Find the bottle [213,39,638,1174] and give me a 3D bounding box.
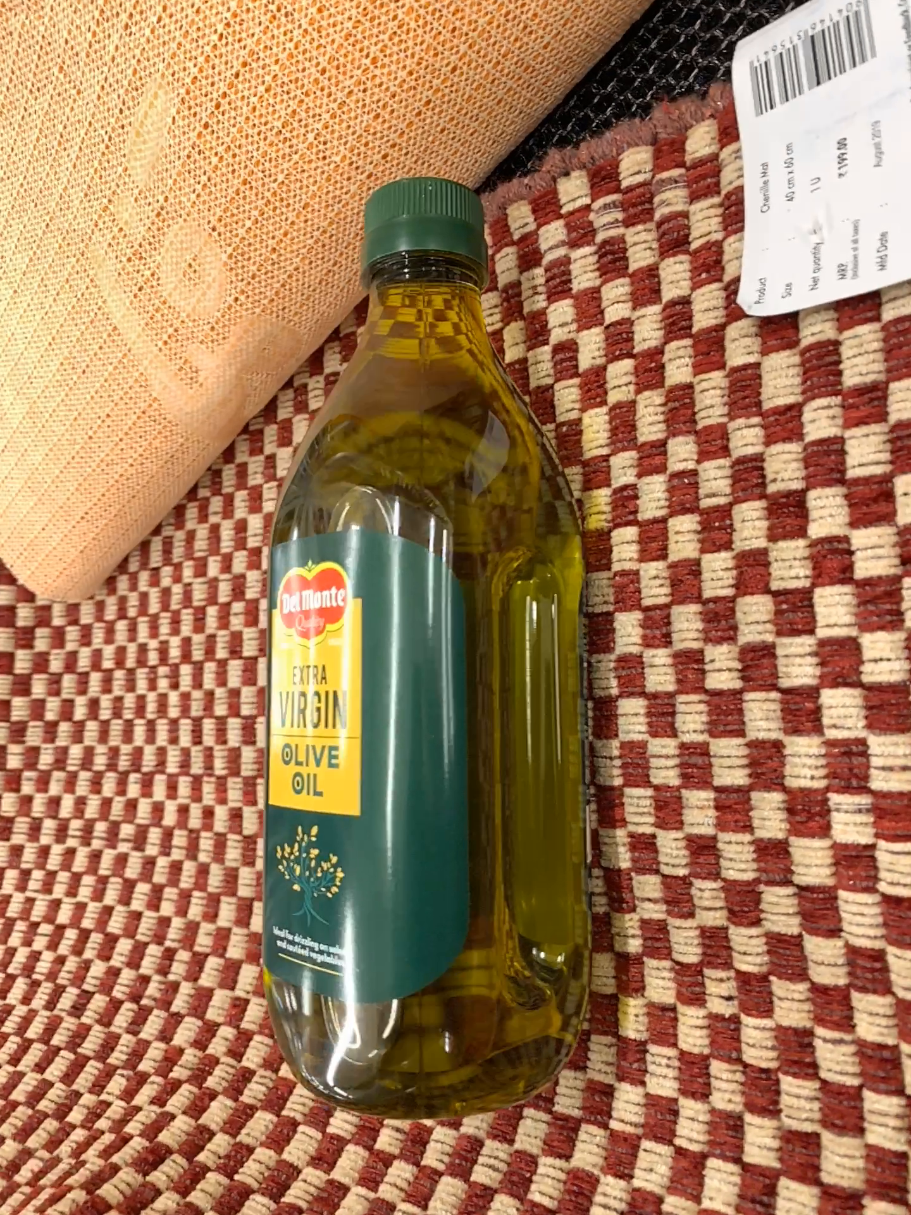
[{"bbox_3d":[-0.004,-0.002,0.262,0.080,0.080,0.250,-1,85,35],"label":"bottle"}]
